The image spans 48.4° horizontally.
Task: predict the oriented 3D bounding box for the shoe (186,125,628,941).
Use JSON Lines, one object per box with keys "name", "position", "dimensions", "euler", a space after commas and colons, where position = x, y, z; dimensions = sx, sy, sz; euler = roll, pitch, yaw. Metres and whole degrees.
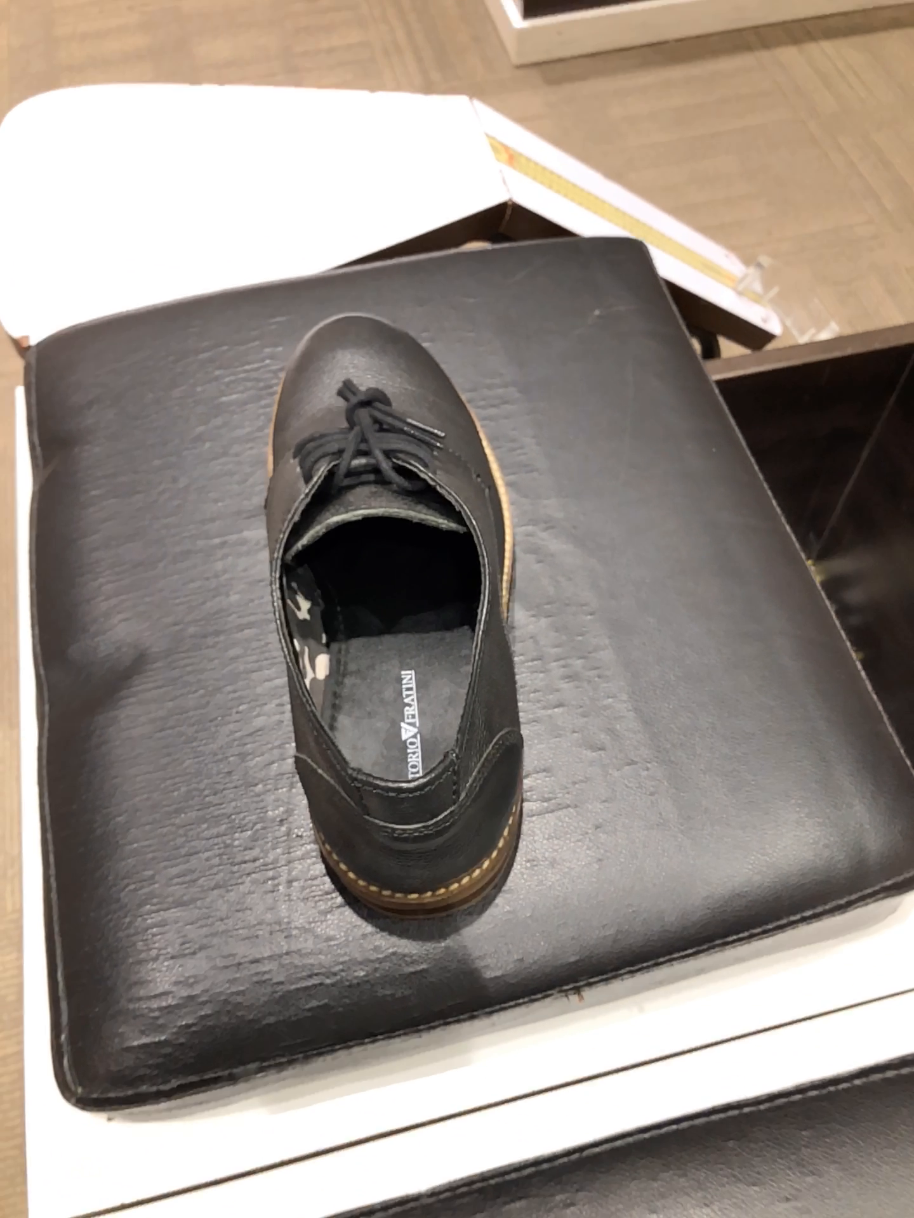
{"name": "shoe", "position": [-0.031, -0.044, 0.382], "dimensions": [0.110, 0.100, 0.291], "euler": [-9, 58, -4]}
